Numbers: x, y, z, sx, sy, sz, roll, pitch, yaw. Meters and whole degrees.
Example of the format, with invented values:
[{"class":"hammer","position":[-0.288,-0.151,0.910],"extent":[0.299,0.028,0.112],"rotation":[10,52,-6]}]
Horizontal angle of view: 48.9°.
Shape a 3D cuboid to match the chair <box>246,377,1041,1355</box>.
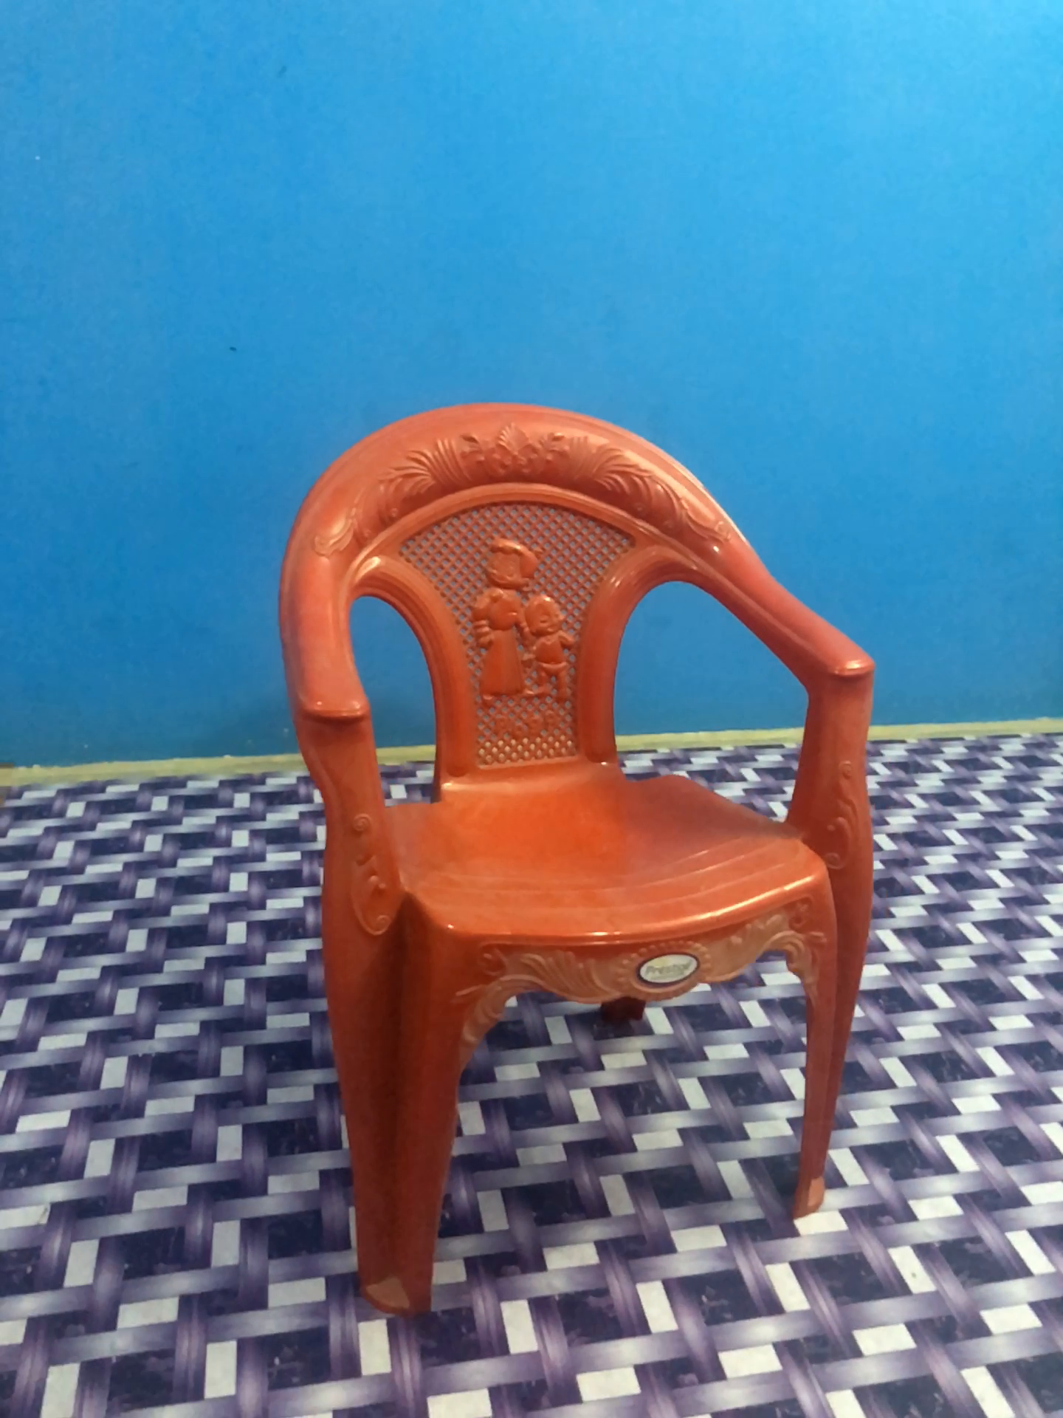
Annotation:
[{"class":"chair","position":[0.023,0.068,0.872],"extent":[0.411,0.557,0.381],"rotation":[-4,22,-17]}]
